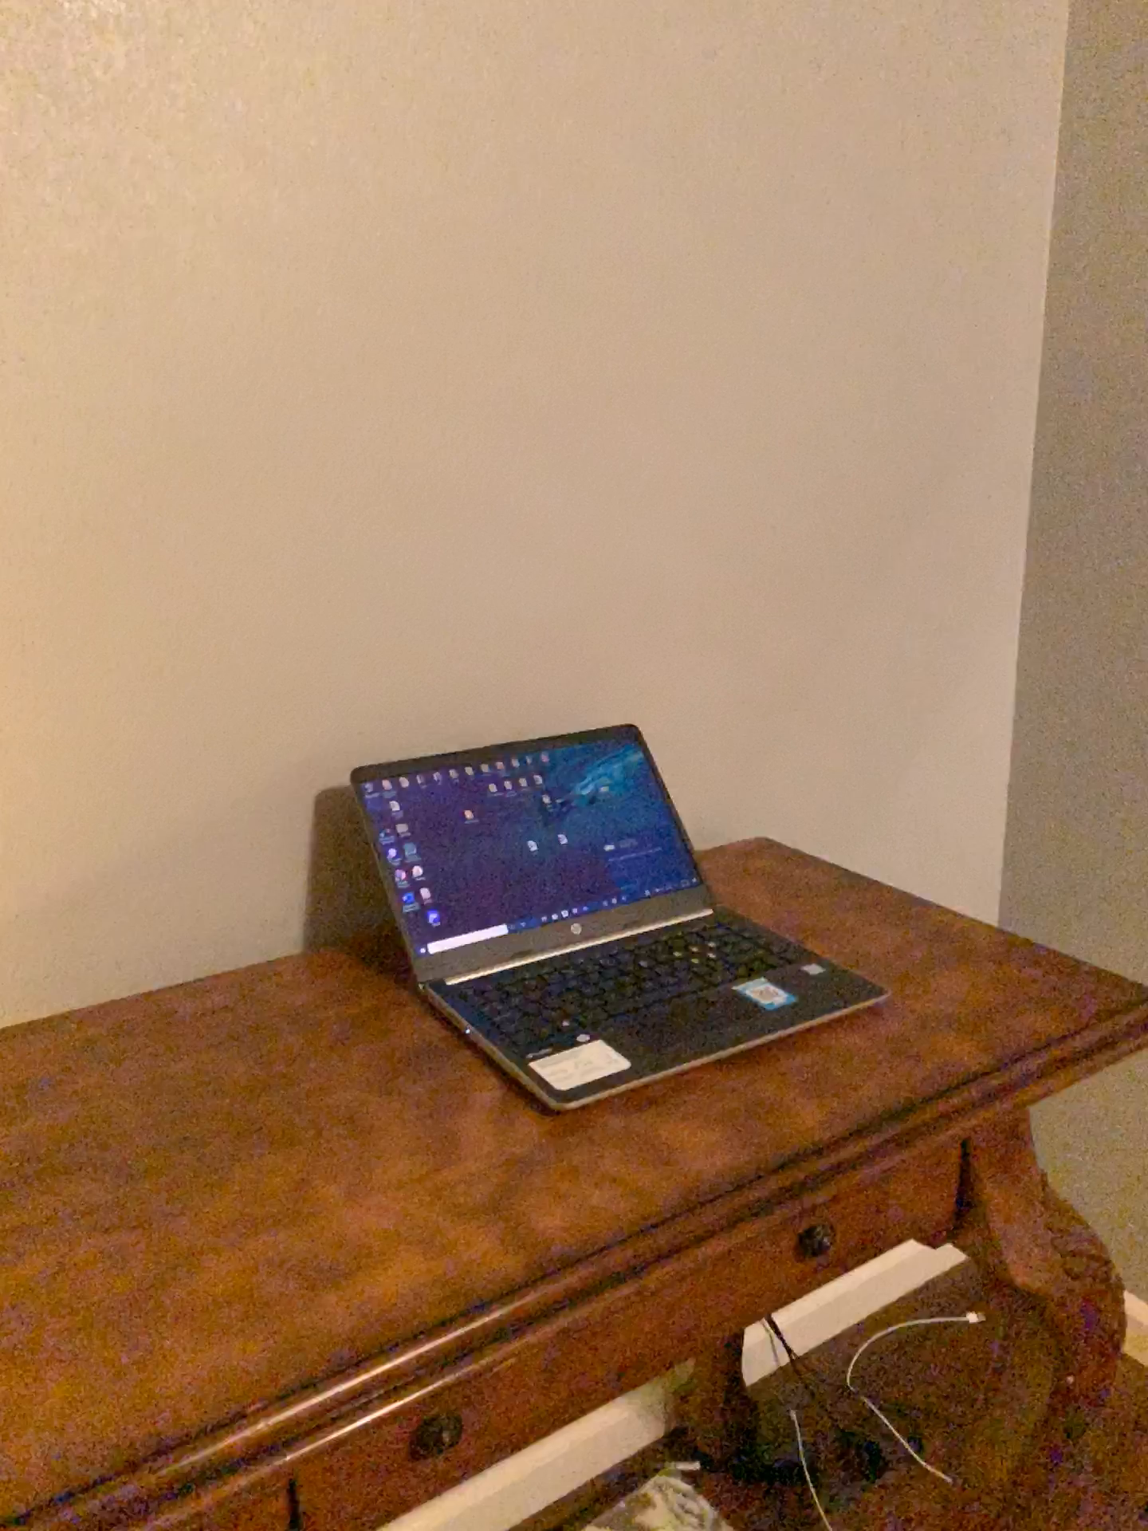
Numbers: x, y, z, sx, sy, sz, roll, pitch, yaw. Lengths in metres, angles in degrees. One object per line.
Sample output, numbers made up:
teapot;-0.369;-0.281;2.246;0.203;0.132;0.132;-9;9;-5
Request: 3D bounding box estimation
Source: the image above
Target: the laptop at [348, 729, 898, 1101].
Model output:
laptop;0.026;0.097;1.027;0.317;0.152;0.368;-9;17;-31
